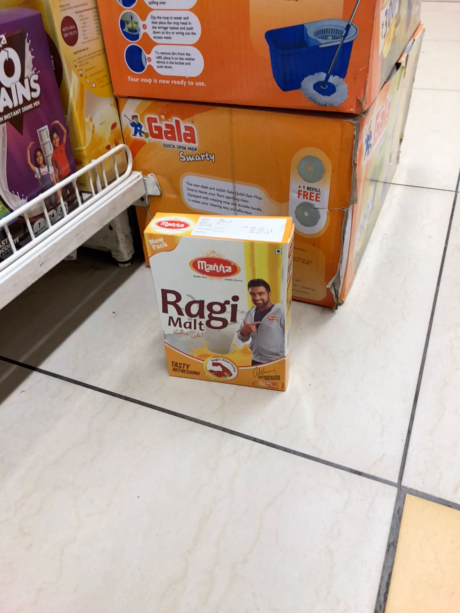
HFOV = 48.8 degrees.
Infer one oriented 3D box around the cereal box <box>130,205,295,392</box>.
[{"bbox_3d":[-0.010,-0.004,0.507,0.140,0.179,0.050,6,39,12],"label":"cereal box"}]
